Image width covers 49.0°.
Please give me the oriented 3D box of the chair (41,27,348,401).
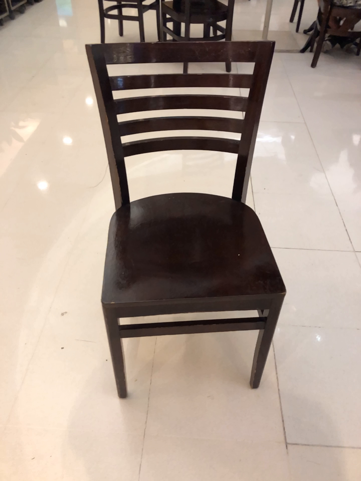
[{"bbox_3d":[0.007,-0.037,1.076,0.460,0.844,0.544,-2,42,-3],"label":"chair"}]
